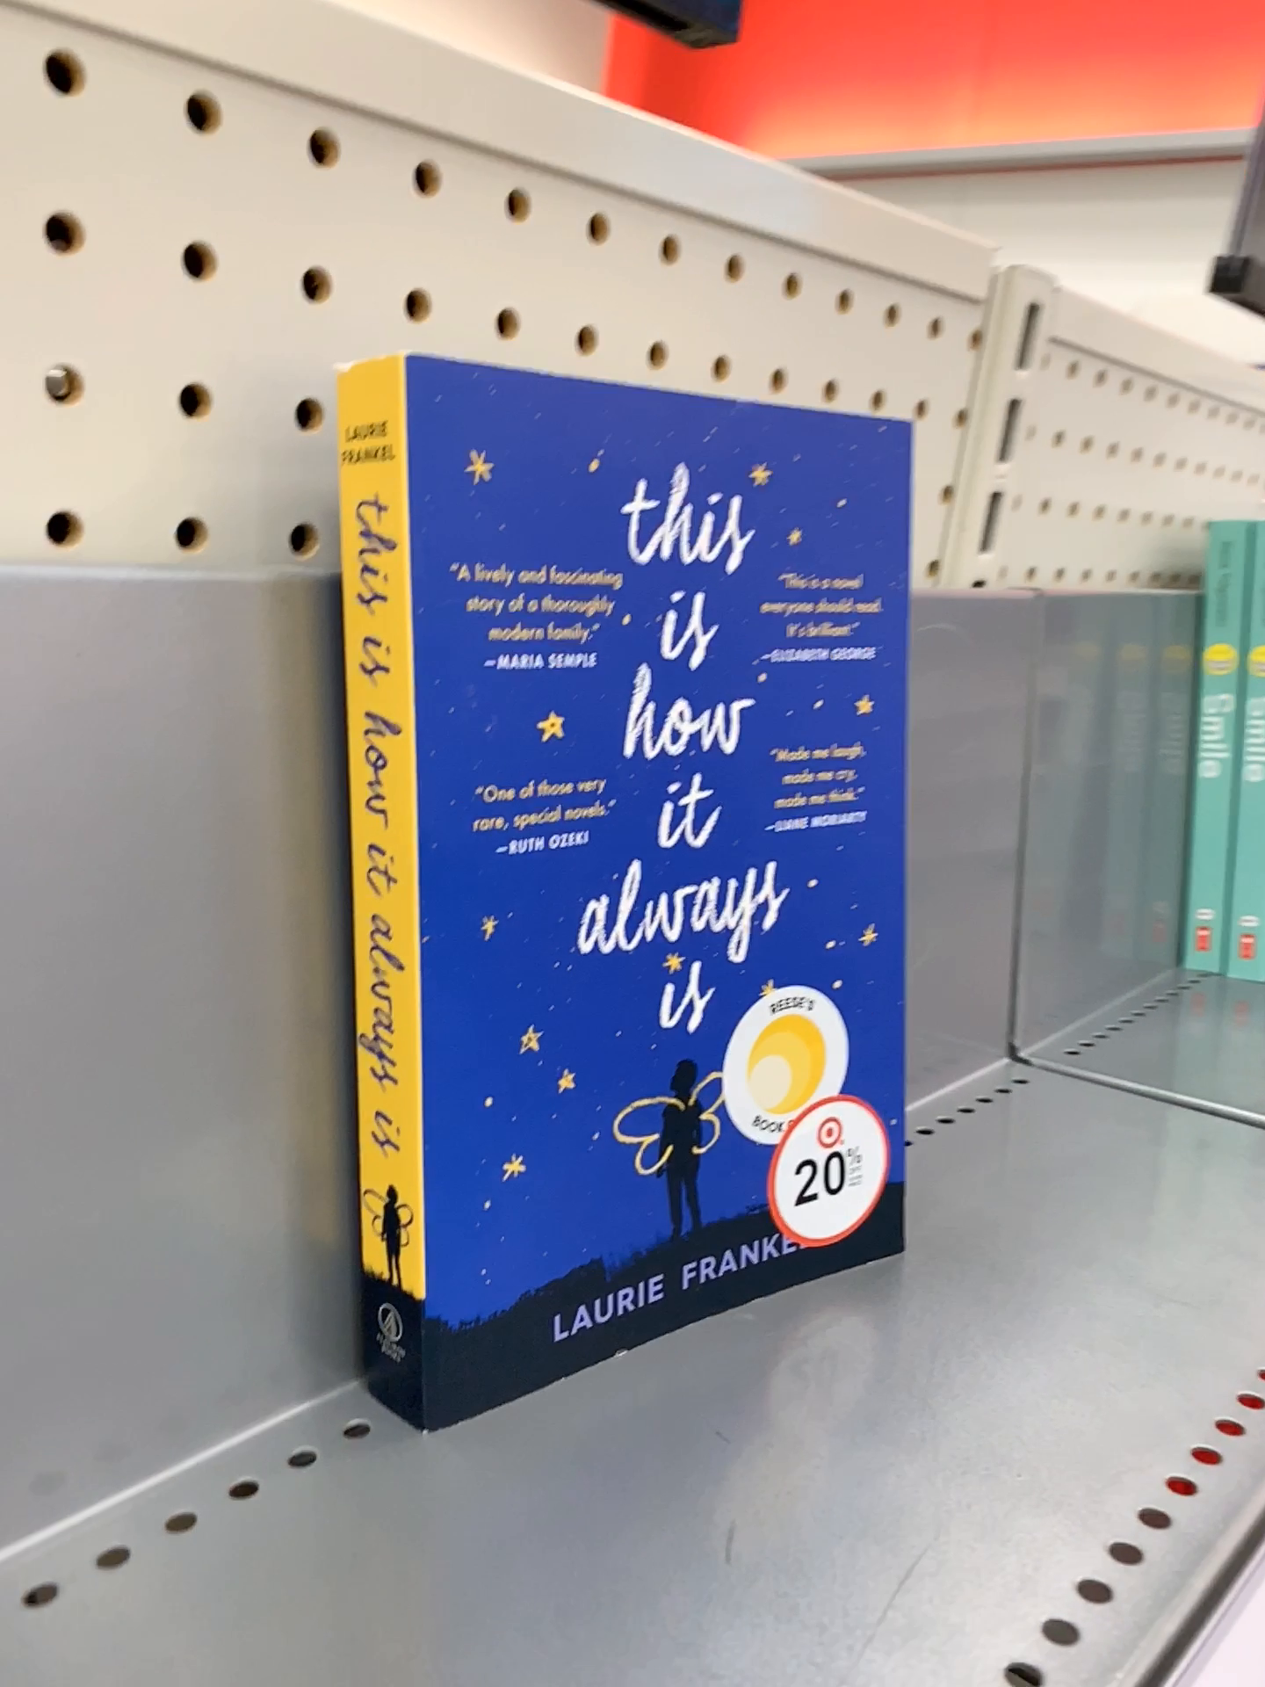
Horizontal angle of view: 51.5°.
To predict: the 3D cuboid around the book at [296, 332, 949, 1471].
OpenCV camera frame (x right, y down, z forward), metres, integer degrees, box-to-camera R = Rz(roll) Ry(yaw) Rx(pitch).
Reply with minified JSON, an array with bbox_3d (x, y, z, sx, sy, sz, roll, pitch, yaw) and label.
[{"bbox_3d":[0.001,0.009,0.295,0.140,0.209,0.044,-5,11,-36],"label":"book"}]
